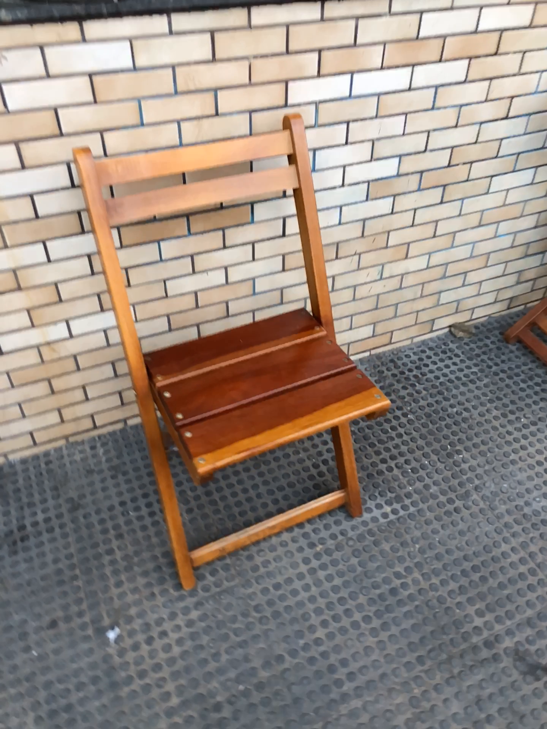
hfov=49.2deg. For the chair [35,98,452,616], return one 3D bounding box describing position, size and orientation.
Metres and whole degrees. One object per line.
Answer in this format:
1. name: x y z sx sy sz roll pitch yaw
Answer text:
1. chair: -0.085 -0.016 1.157 0.471 0.764 0.493 -17 44 -22
